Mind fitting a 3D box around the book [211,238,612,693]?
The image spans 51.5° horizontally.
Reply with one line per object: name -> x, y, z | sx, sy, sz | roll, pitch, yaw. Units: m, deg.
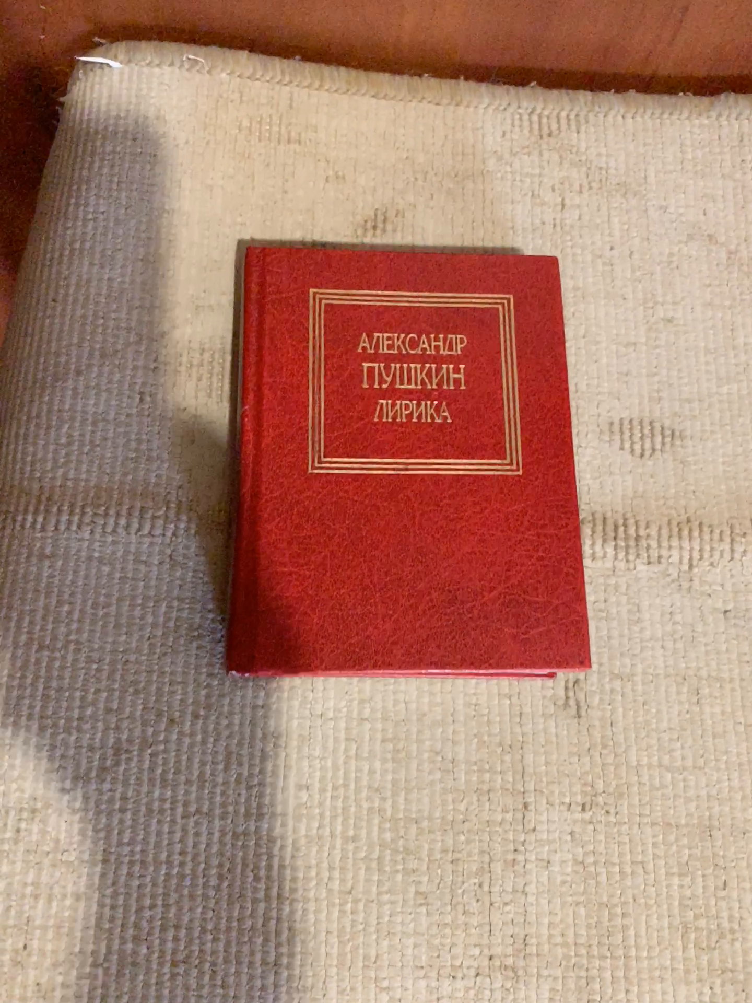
book -> 0.011, -0.012, 0.266 | 0.119, 0.034, 0.149 | 1, 75, -3
